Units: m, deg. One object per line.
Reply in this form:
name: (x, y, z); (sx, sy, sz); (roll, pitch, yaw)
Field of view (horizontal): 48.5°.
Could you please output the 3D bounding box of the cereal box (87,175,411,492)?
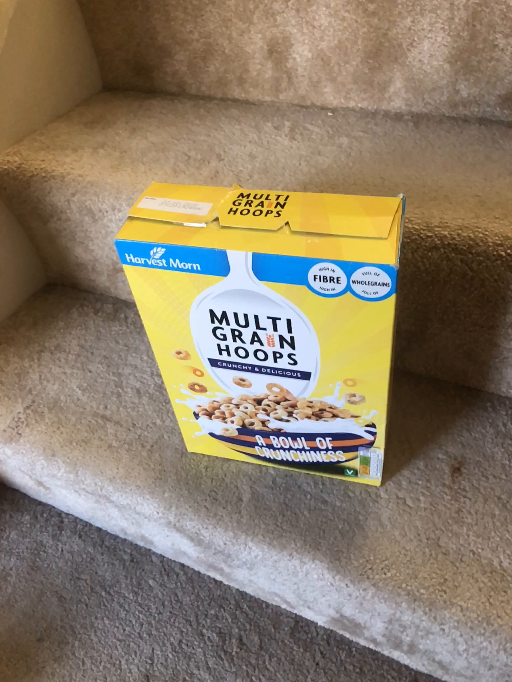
cereal box: (0.011, 0.003, 0.466); (0.200, 0.248, 0.091); (7, 48, 16)
